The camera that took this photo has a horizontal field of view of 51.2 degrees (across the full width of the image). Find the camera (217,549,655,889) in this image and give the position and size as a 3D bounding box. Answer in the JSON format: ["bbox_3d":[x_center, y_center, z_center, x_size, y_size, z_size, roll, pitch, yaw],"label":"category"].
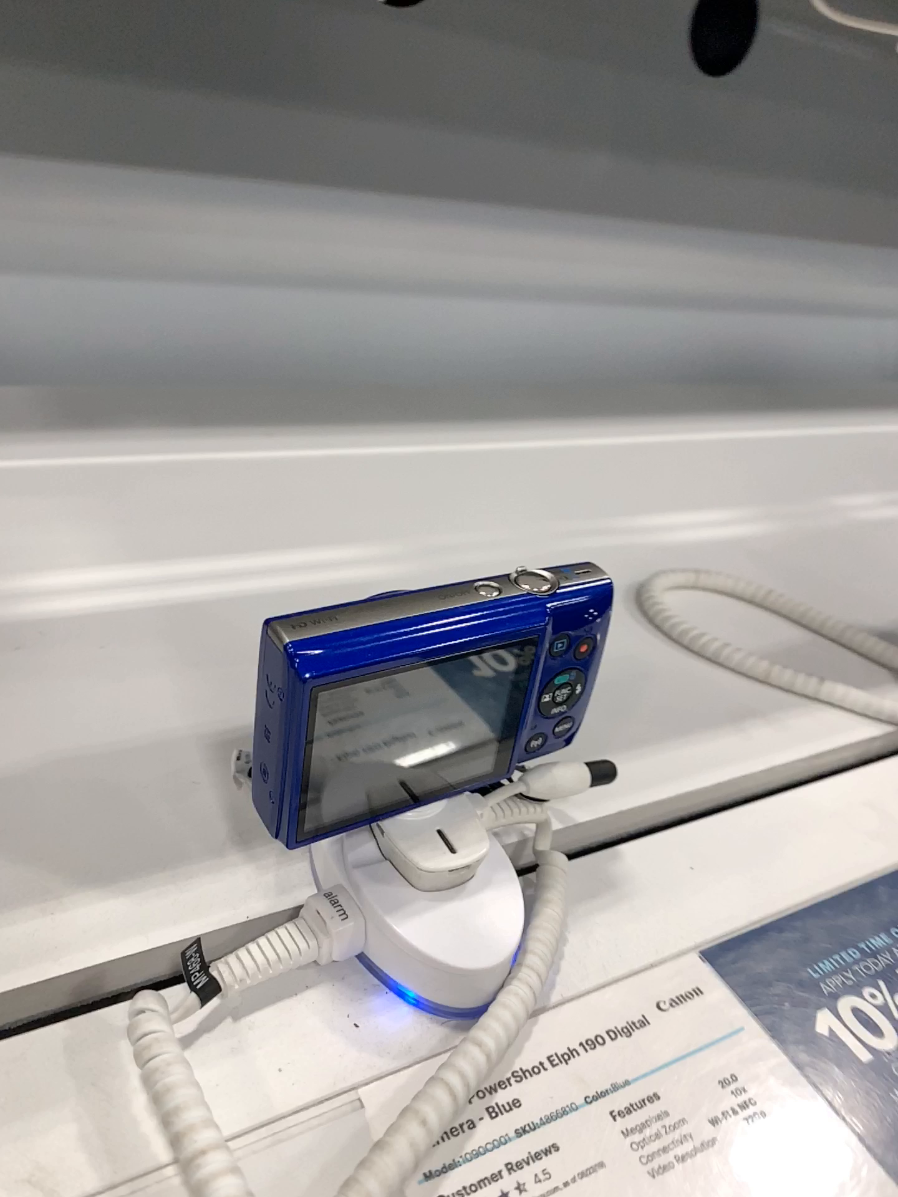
[{"bbox_3d":[-0.002,0.026,0.233,0.100,0.060,0.027,-10,38,-34],"label":"camera"}]
